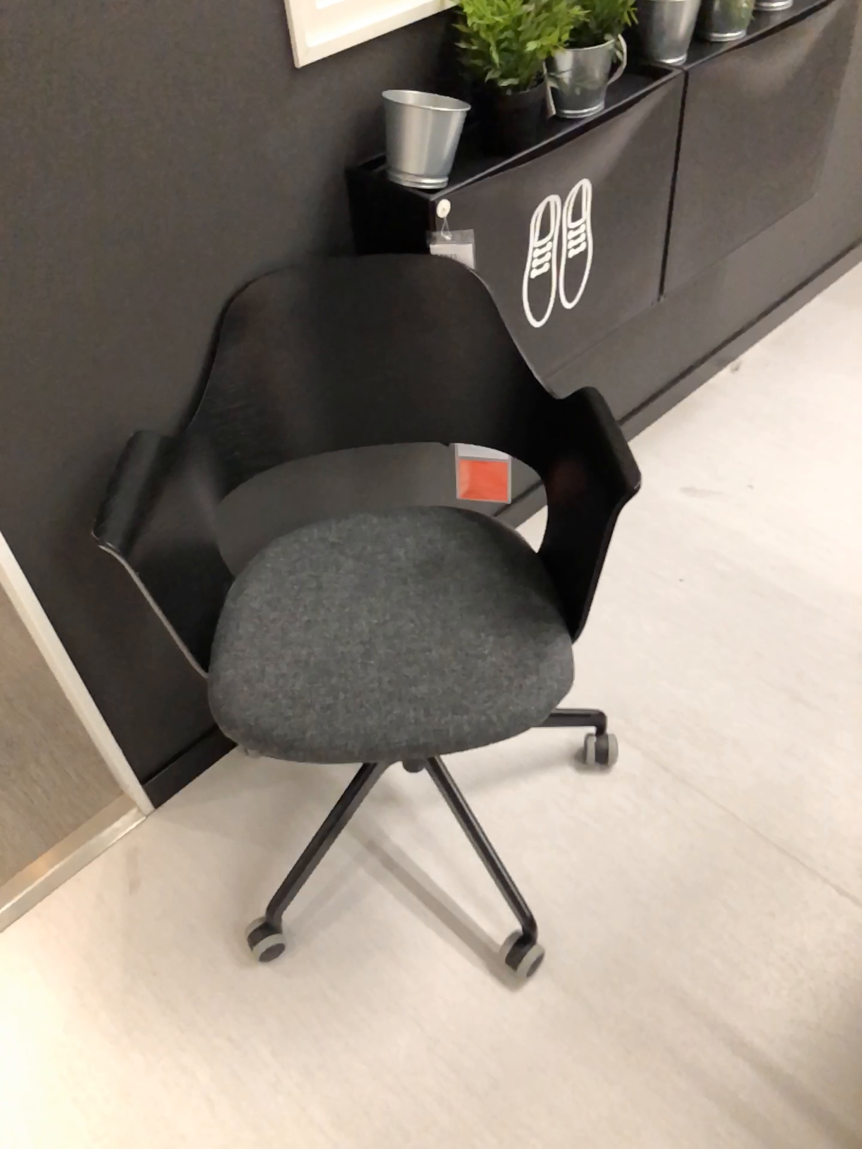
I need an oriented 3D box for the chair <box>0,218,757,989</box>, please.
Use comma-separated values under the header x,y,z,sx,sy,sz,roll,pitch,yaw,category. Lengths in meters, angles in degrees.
x,y,z,sx,sy,sz,roll,pitch,yaw,category
-0.054,0.071,1.164,0.660,0.755,0.563,-1,46,5,chair
